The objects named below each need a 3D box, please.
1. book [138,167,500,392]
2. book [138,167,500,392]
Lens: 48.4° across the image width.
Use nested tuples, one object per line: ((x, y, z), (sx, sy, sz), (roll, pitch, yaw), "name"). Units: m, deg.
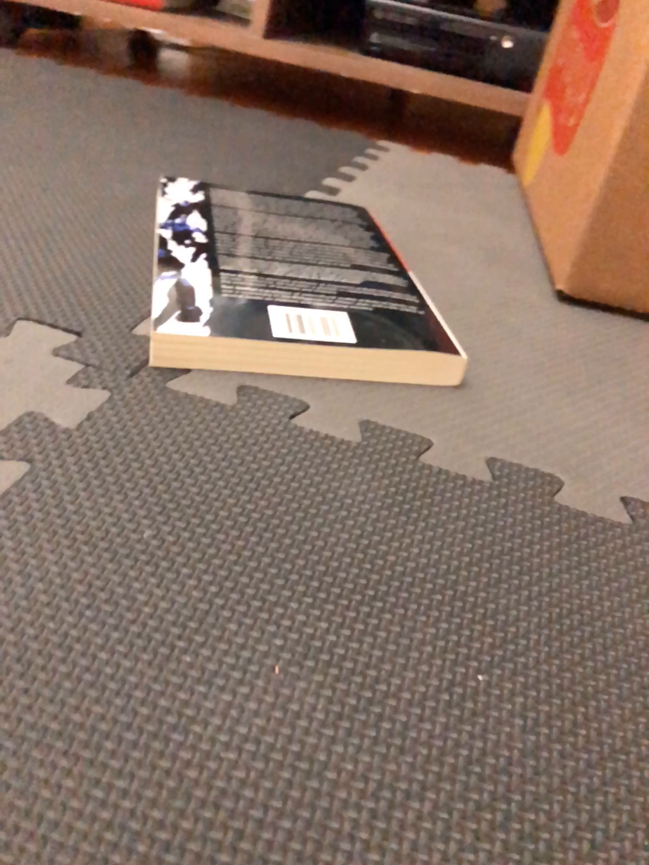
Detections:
((-0.019, -0.094, 0.393), (0.150, 0.020, 0.231), (3, 33, -13), "book")
((-0.019, -0.094, 0.393), (0.150, 0.020, 0.231), (3, 33, -13), "book")
